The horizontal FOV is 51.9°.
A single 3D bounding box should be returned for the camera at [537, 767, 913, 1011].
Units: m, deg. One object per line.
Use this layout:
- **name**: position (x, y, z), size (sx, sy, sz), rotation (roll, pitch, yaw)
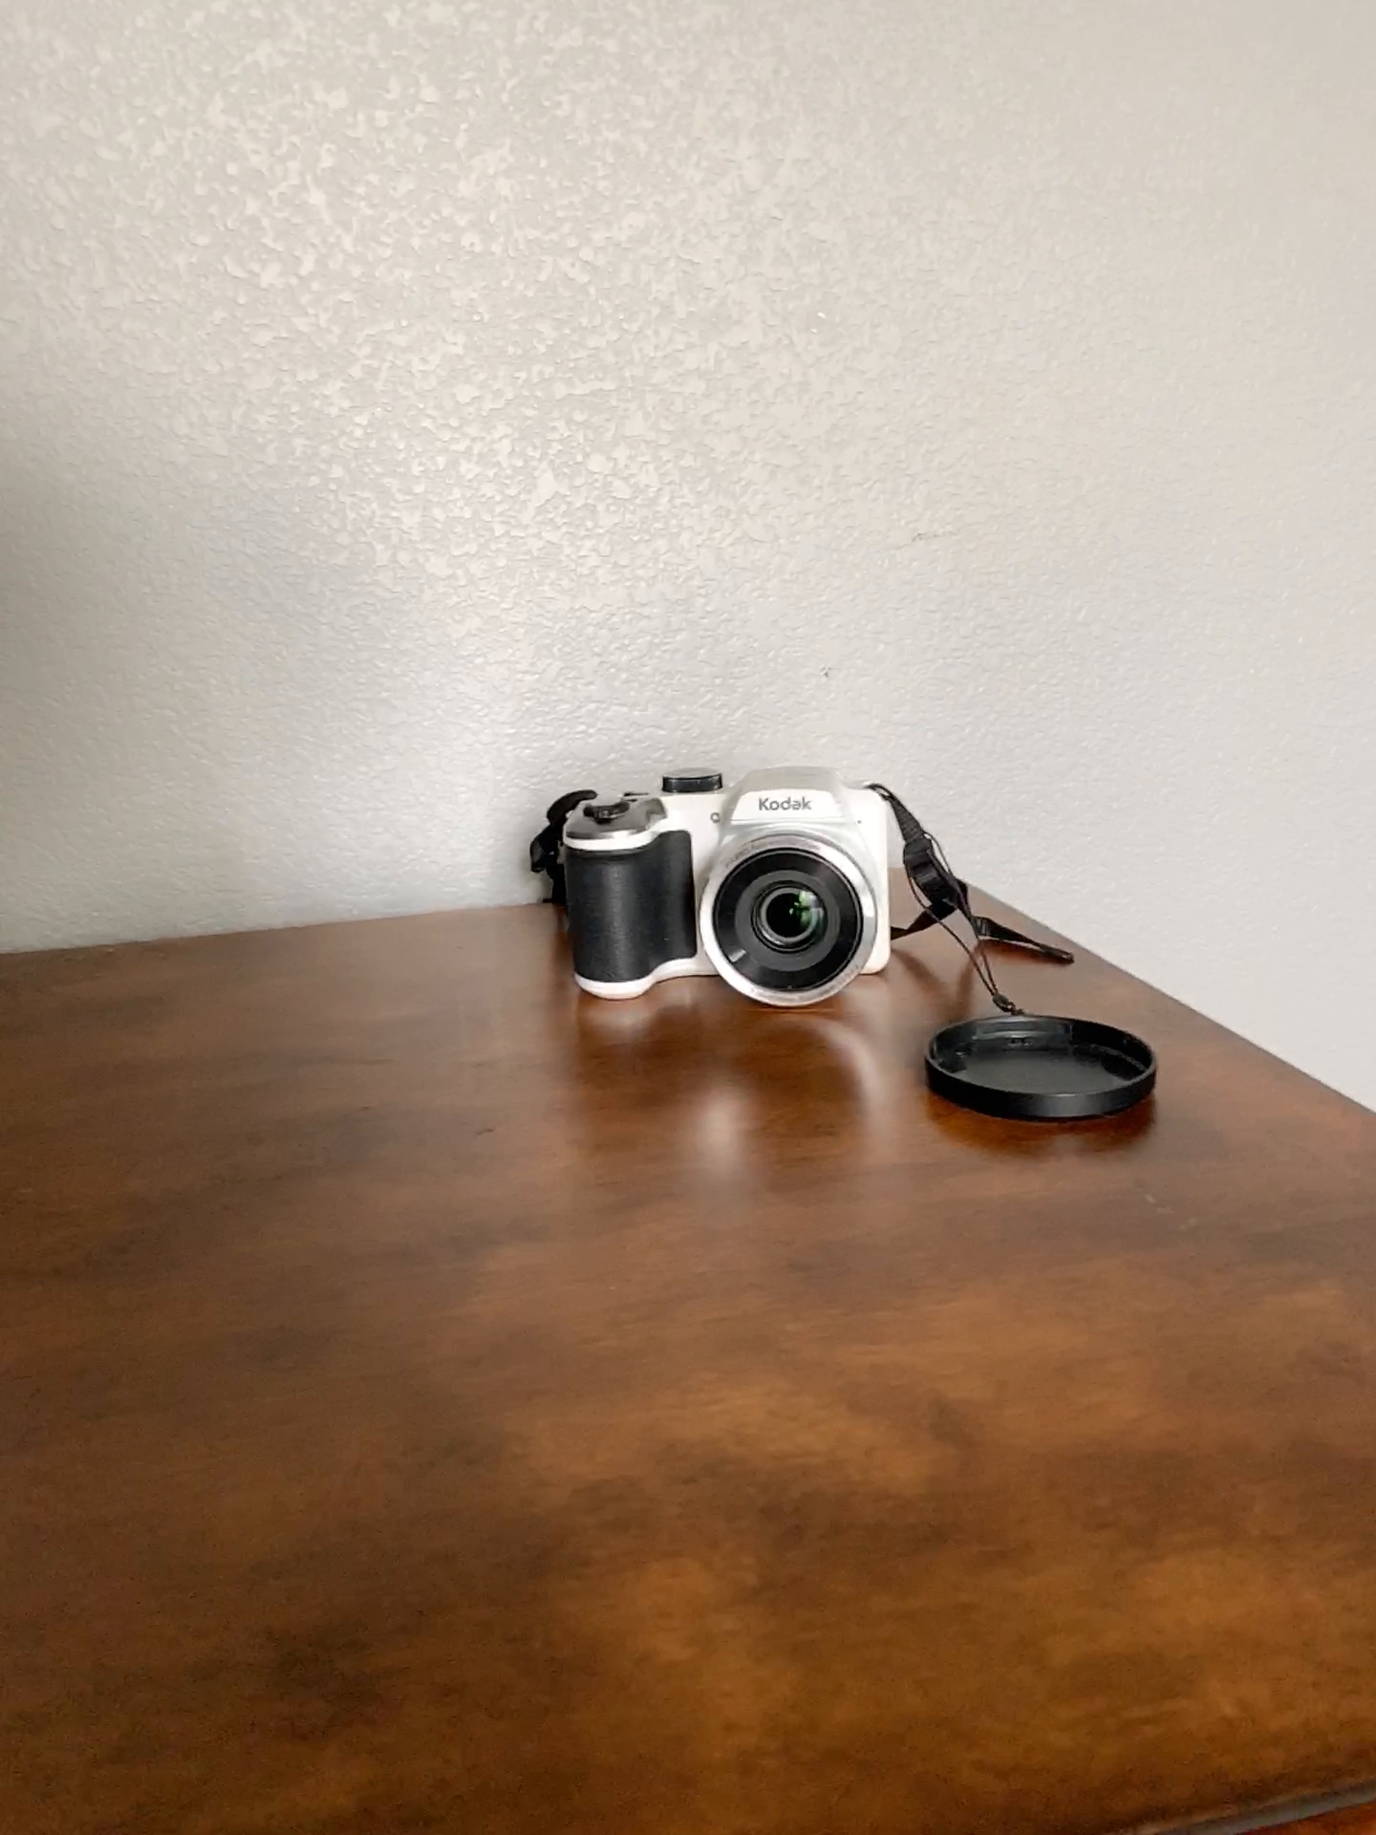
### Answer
- **camera**: position (0.017, -0.013, 0.511), size (0.119, 0.071, 0.070), rotation (0, 14, 15)
